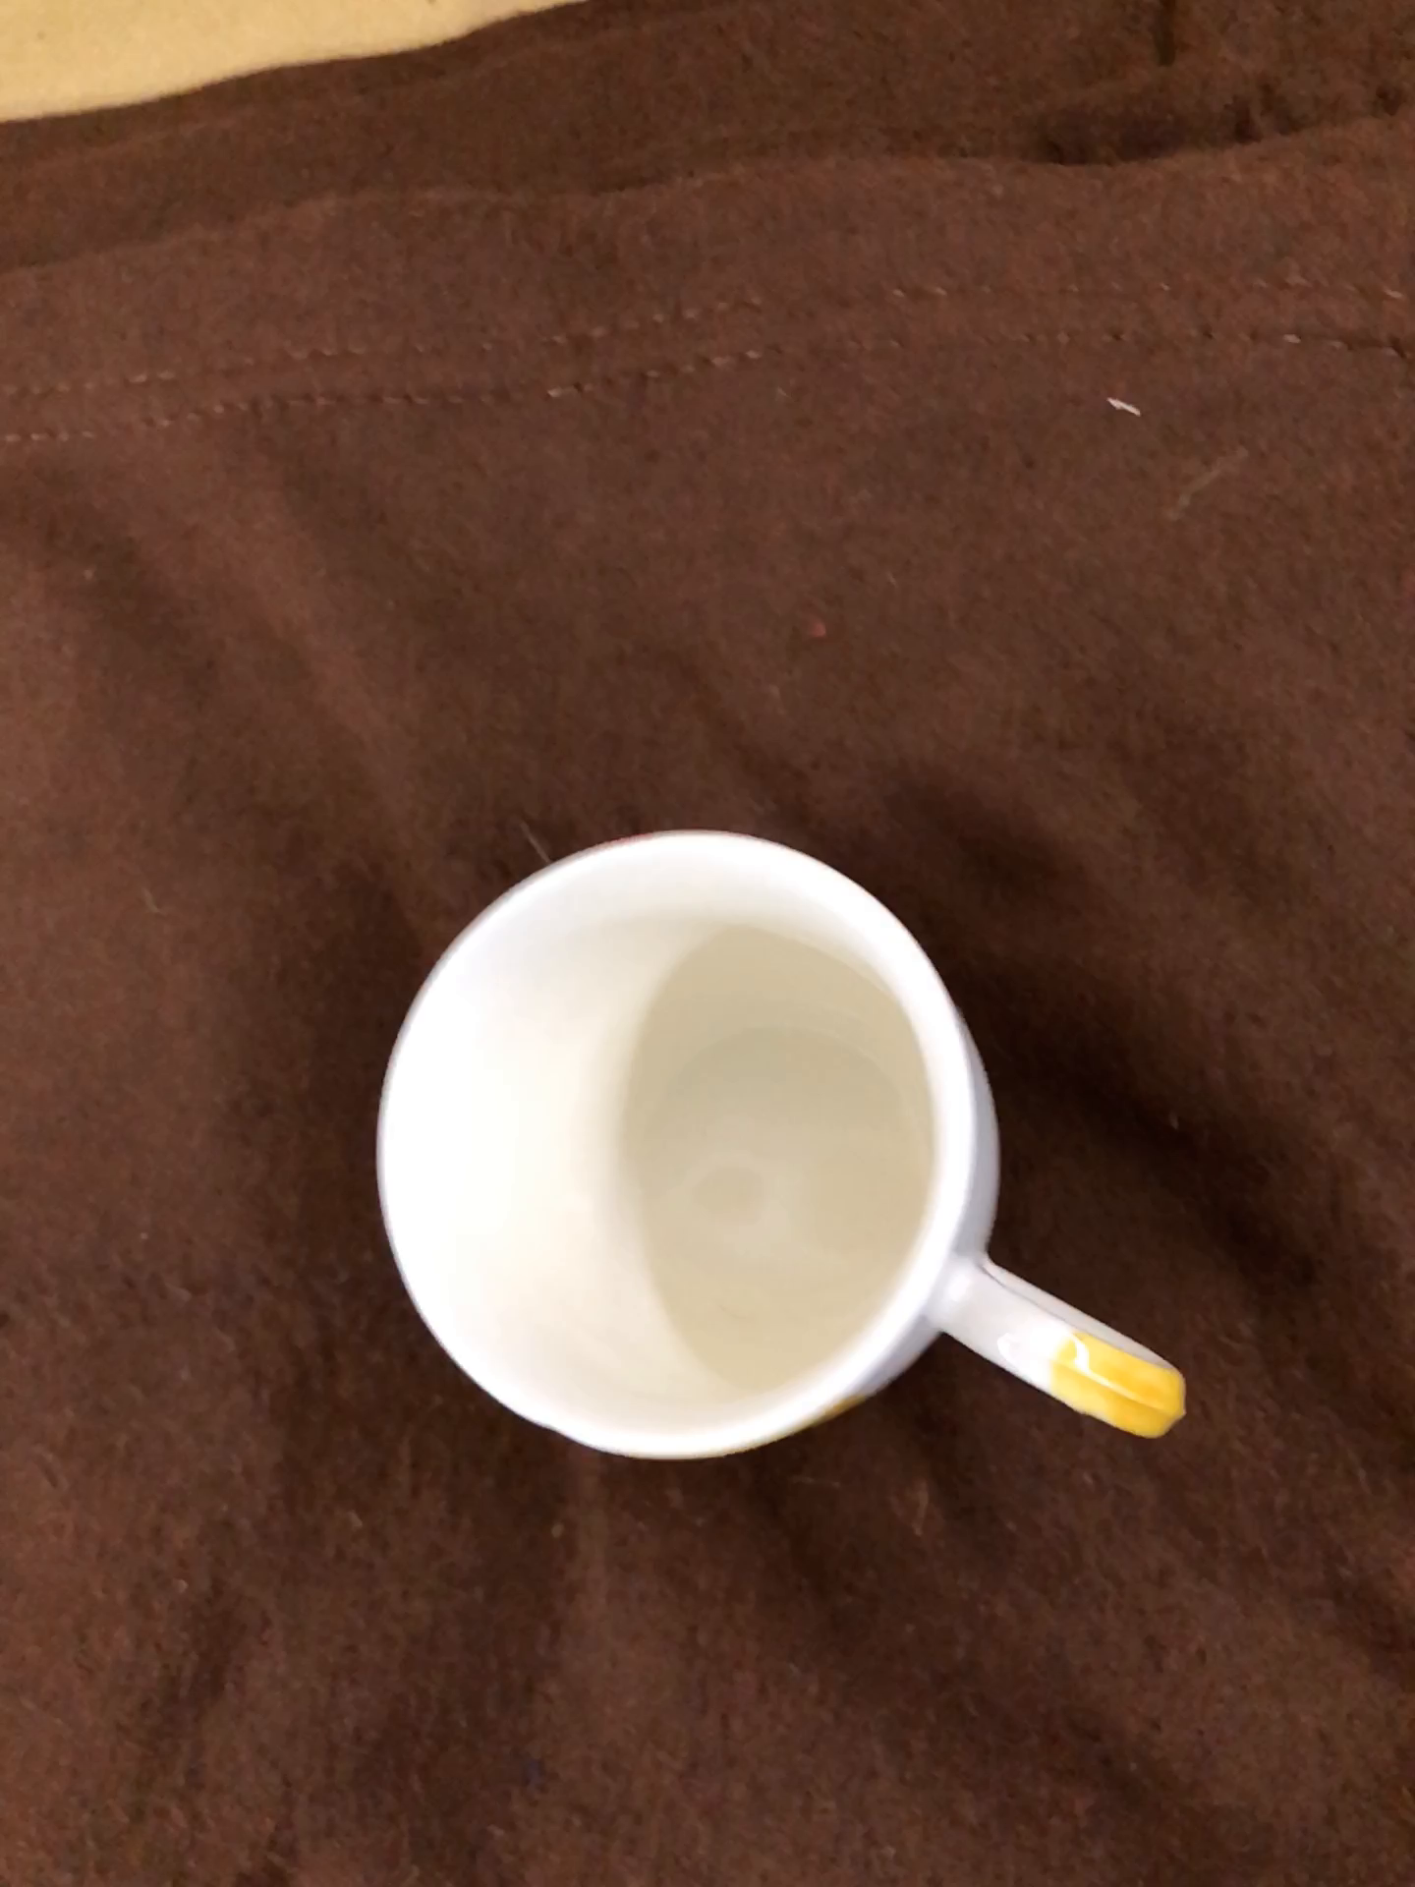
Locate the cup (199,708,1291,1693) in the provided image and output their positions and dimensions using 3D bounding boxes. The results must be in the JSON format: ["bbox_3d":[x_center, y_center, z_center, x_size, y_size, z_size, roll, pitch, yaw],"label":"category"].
[{"bbox_3d":[0.007,0.025,0.180,0.090,0.060,0.060,24,85,20],"label":"cup"}]
